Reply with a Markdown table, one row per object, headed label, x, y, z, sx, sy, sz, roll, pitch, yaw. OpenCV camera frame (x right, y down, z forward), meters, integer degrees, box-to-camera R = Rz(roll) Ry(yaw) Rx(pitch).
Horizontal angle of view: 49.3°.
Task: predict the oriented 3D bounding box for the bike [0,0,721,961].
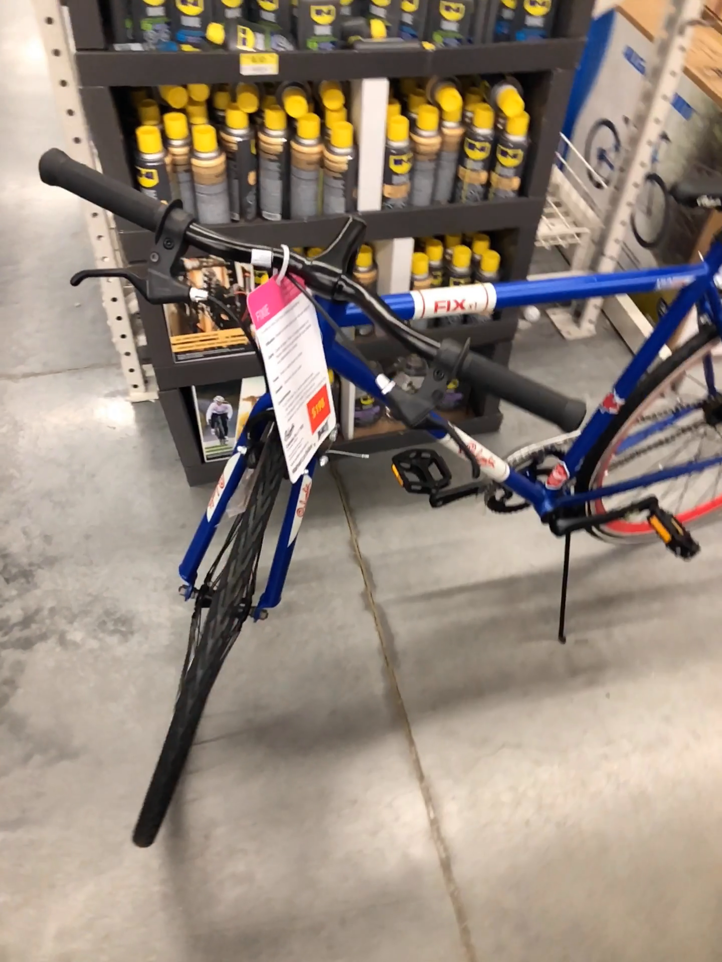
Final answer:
| label | x | y | z | sx | sy | sz | roll | pitch | yaw |
| --- | --- | --- | --- | --- | --- | --- | --- | --- | --- |
| bike | 0.393 | -0.030 | 1.083 | 1.492 | 0.938 | 0.604 | -22 | 54 | -26 |
